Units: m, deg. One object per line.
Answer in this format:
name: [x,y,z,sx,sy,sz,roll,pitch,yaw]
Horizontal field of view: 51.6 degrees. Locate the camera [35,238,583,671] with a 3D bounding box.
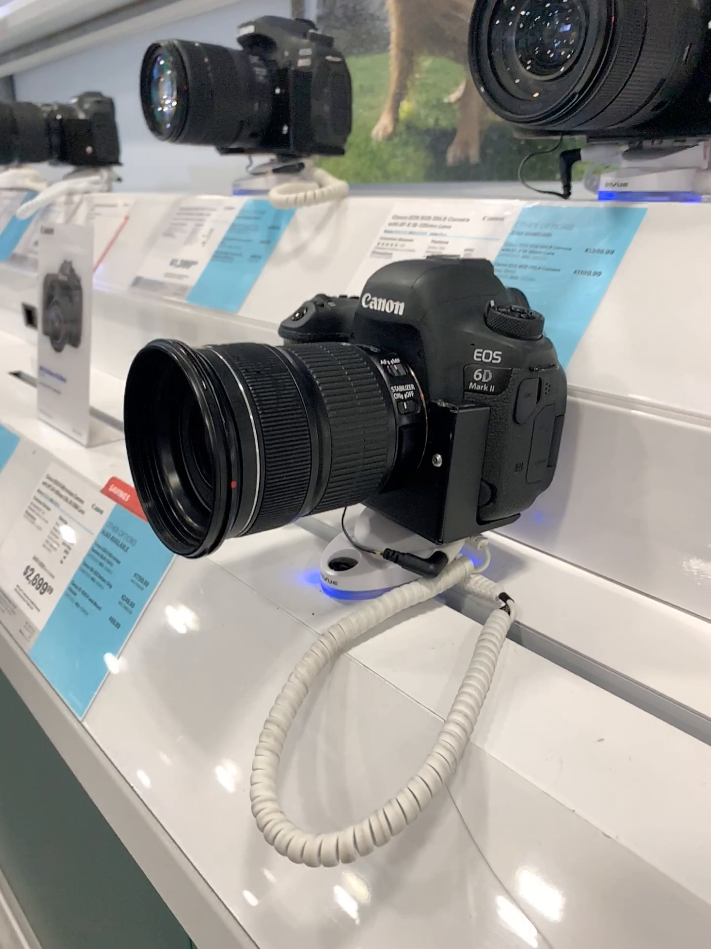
camera: [-0.017,-0.033,0.325,0.180,0.124,0.137,-17,26,-36]
